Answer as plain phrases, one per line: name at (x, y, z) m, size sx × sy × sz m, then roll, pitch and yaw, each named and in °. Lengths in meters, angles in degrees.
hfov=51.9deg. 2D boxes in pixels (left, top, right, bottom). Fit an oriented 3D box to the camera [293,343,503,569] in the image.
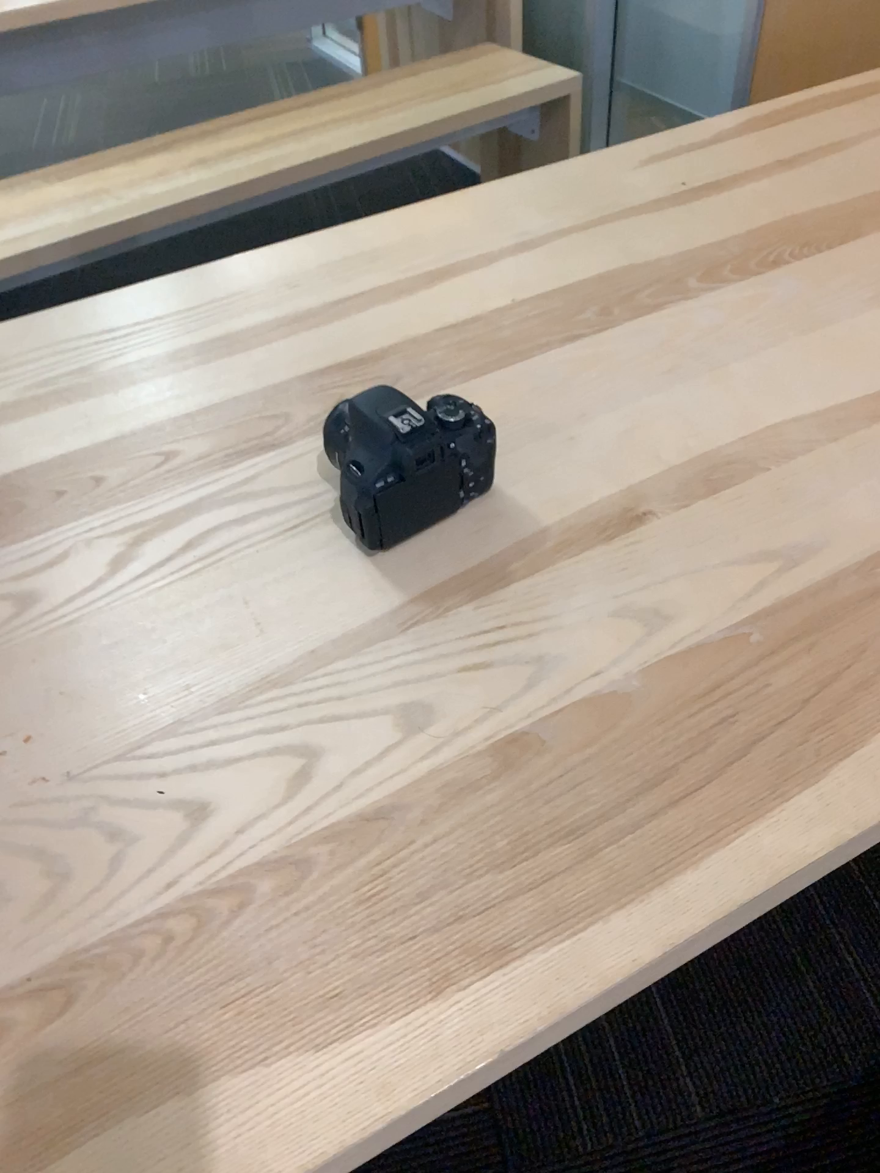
camera at (-0.034, -0.109, 0.746) m, size 0.120 × 0.101 × 0.114 m, roll -30°, pitch 57°, yaw -23°
